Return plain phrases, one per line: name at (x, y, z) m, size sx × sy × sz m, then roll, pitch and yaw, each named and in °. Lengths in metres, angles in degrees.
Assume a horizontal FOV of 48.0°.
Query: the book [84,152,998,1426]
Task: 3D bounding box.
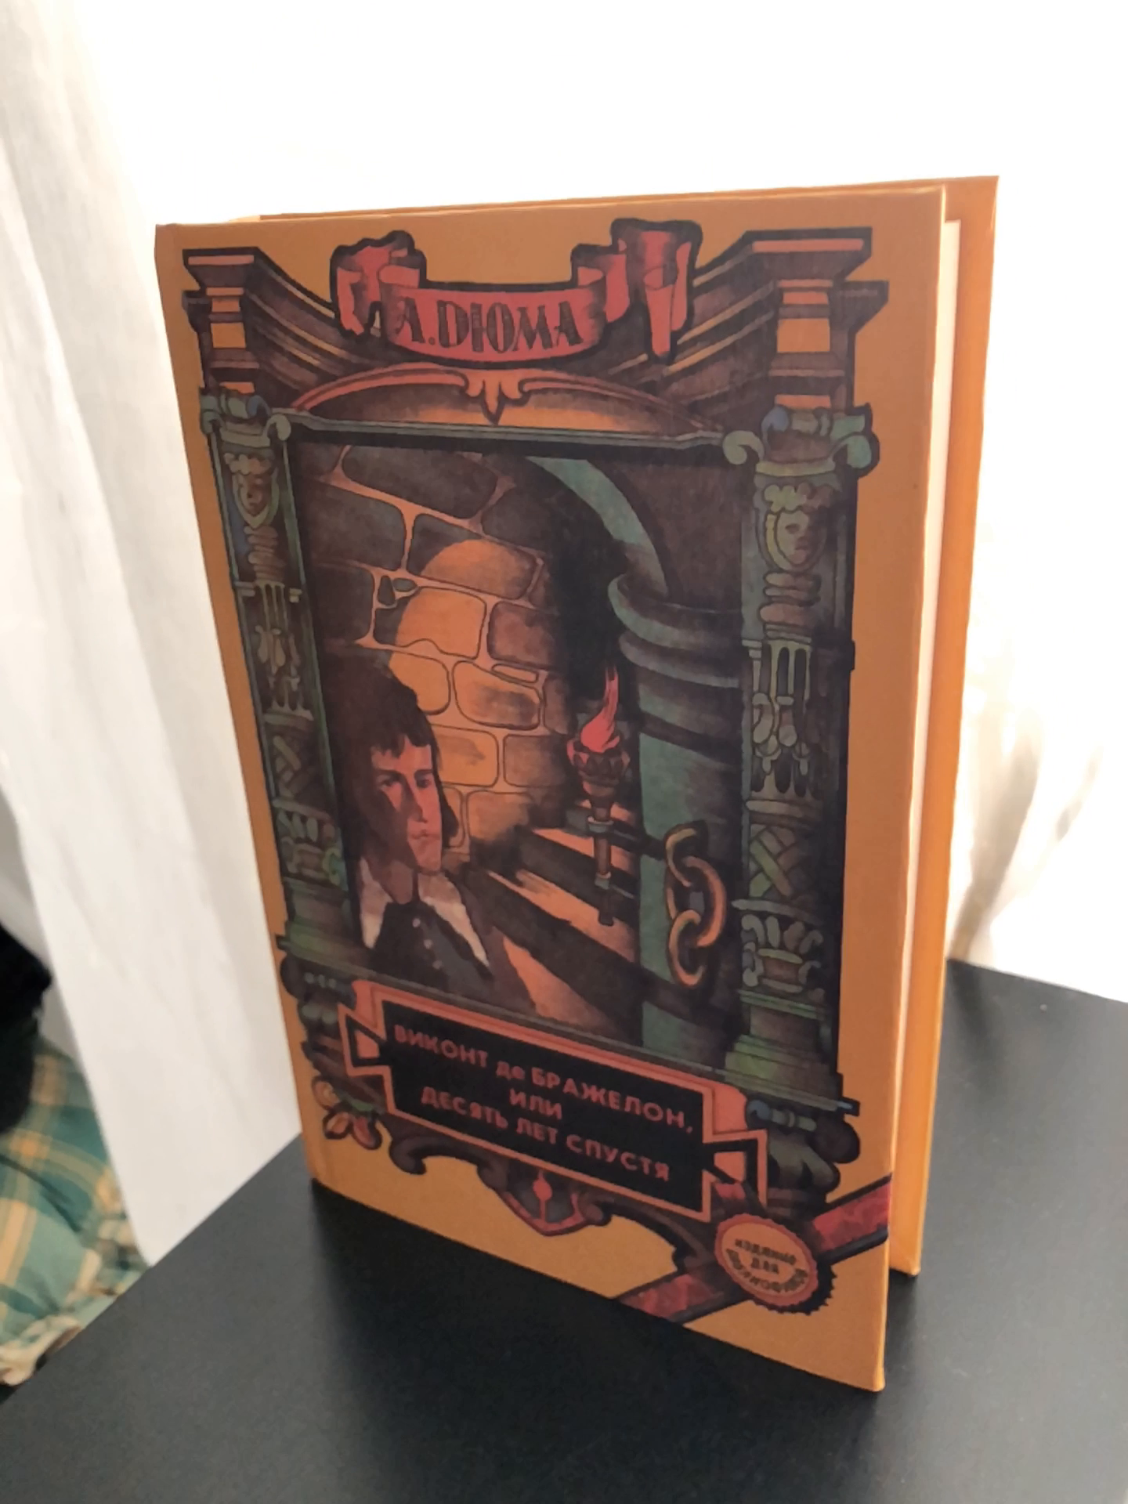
book at (-0.004, 0.007, 0.231) m, size 0.141 × 0.198 × 0.040 m, roll 9°, pitch 25°, yaw 29°
